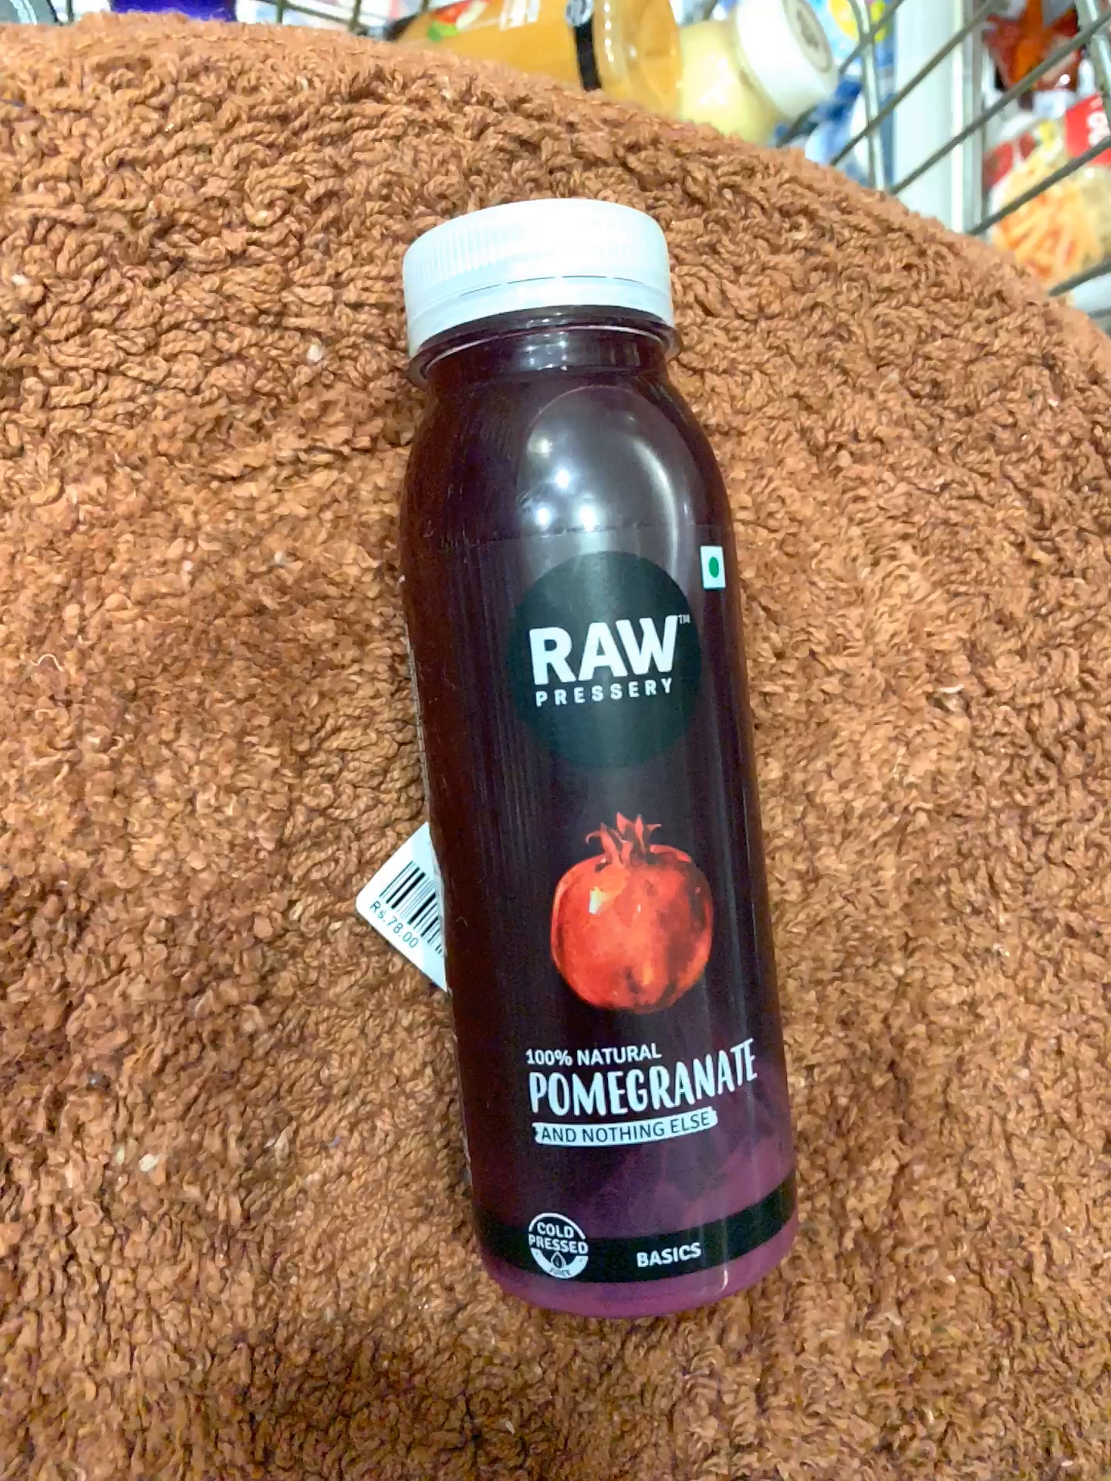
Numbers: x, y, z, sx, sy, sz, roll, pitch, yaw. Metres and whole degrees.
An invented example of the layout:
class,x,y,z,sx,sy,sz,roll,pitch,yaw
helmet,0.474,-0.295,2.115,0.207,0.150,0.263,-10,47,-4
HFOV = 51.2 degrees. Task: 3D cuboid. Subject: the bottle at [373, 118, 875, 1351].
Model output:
class,x,y,z,sx,sy,sz,roll,pitch,yaw
bottle,0.010,0.000,0.156,0.050,0.040,0.140,-7,101,-18
